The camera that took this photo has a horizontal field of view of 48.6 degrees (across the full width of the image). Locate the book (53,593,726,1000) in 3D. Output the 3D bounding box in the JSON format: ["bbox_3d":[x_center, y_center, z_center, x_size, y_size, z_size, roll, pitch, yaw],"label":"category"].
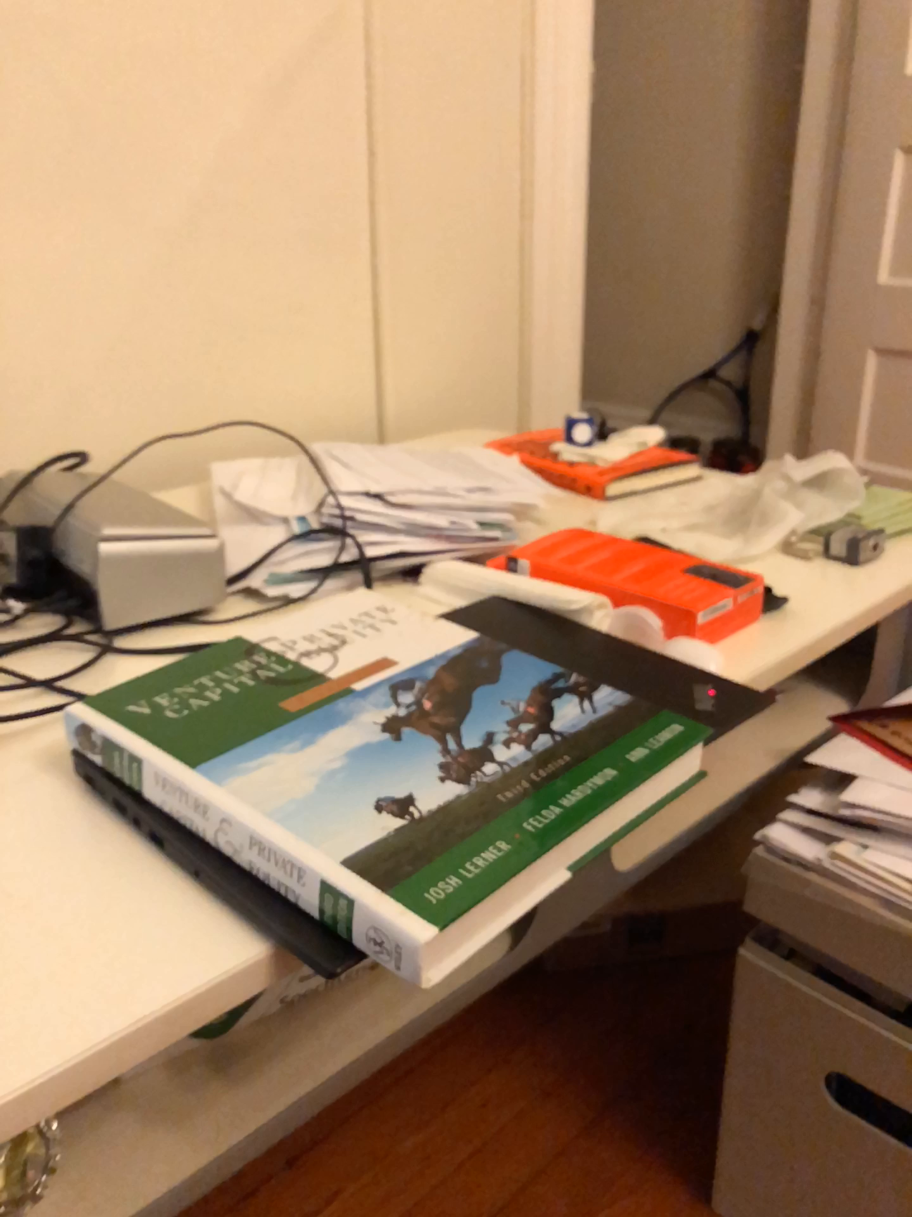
[{"bbox_3d":[-0.037,0.067,0.527,0.270,0.030,0.221,19,28,38],"label":"book"}]
